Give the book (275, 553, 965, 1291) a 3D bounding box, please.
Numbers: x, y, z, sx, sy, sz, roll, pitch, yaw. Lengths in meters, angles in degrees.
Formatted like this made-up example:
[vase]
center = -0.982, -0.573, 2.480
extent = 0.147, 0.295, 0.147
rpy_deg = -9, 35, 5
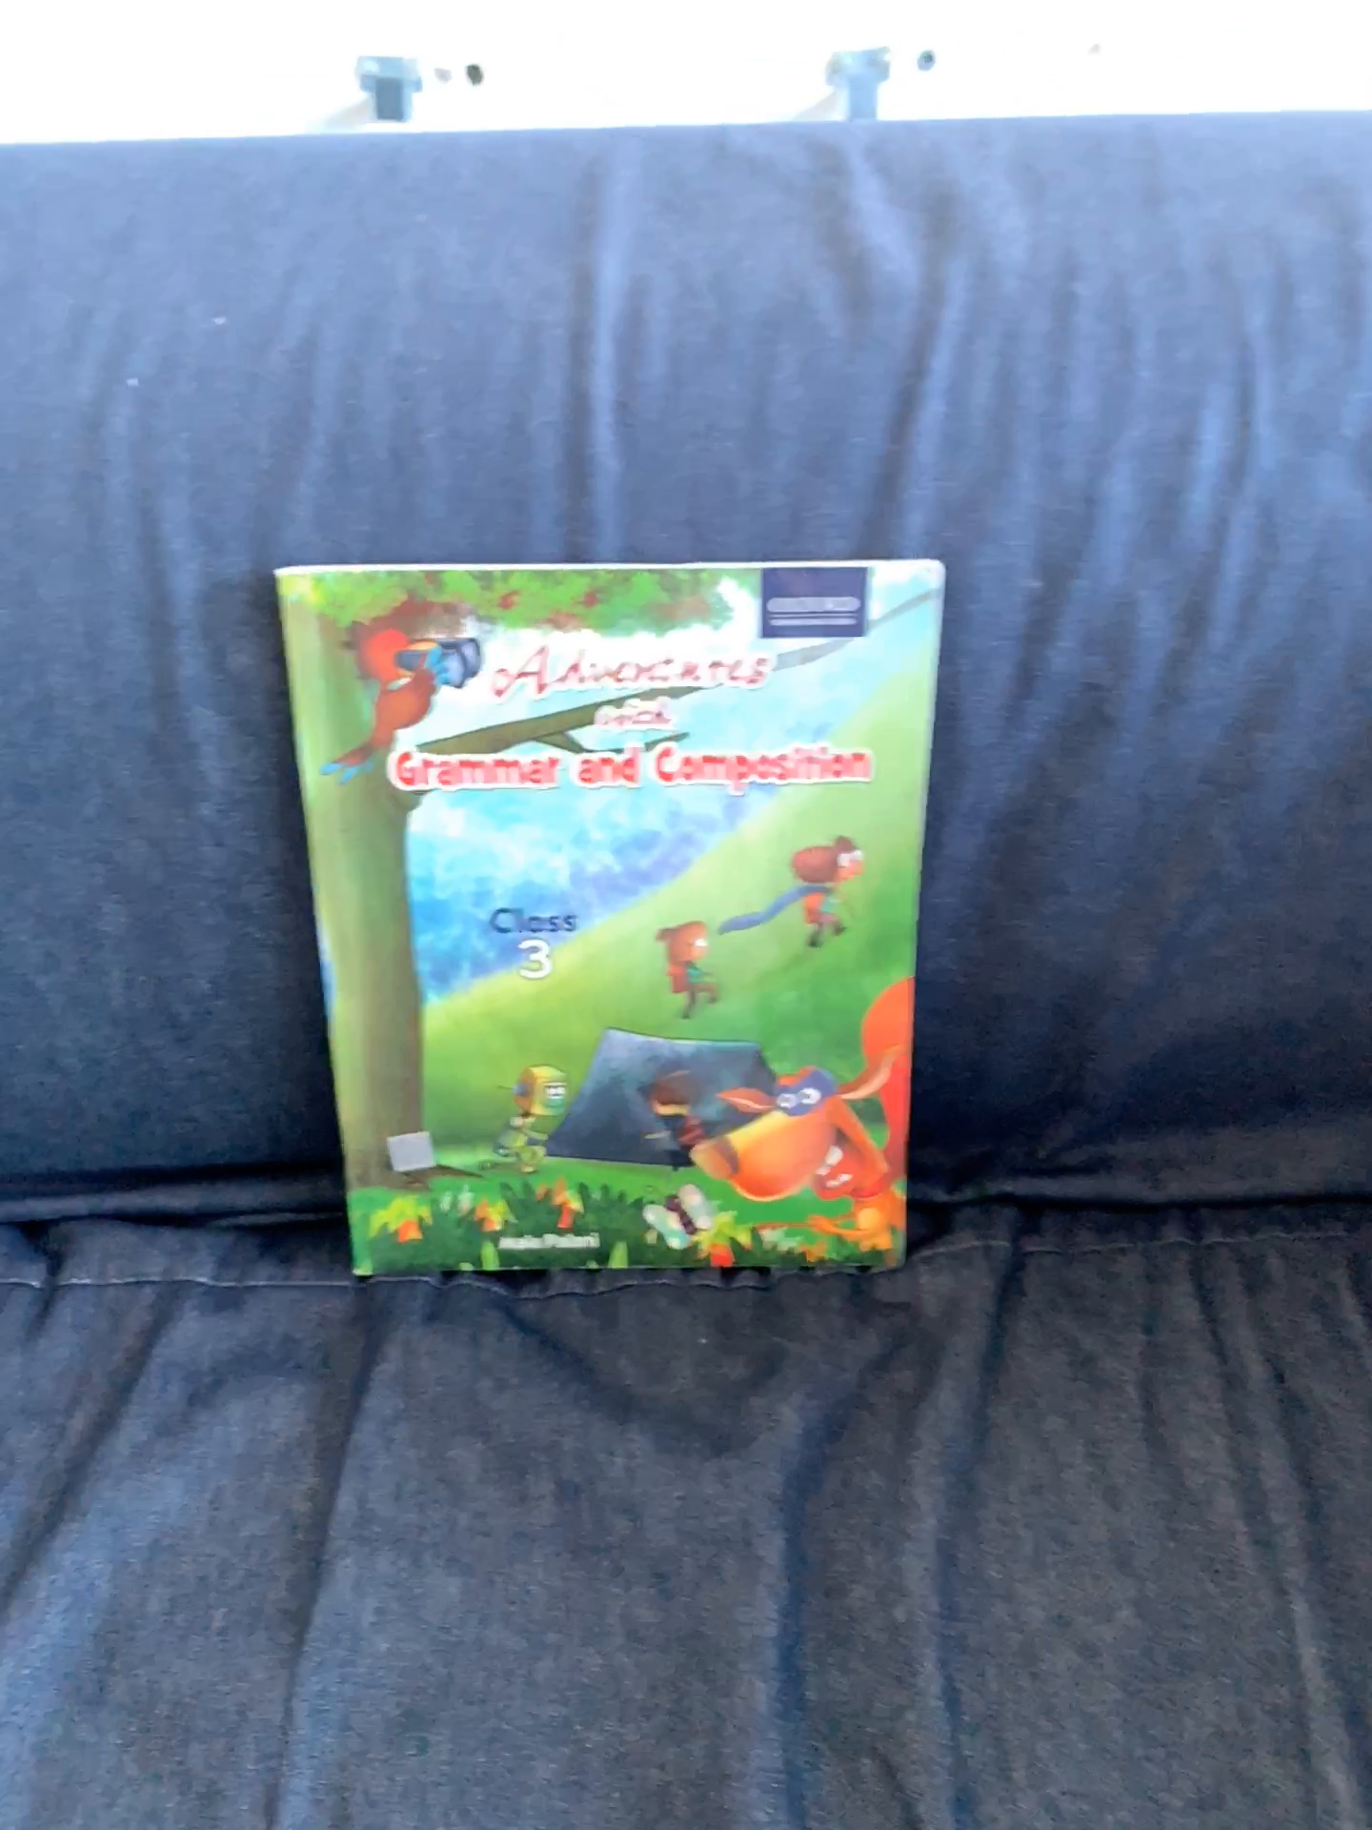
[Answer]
[book]
center = -0.019, 0.013, 0.500
extent = 0.212, 0.268, 0.030
rpy_deg = 0, 23, 1
